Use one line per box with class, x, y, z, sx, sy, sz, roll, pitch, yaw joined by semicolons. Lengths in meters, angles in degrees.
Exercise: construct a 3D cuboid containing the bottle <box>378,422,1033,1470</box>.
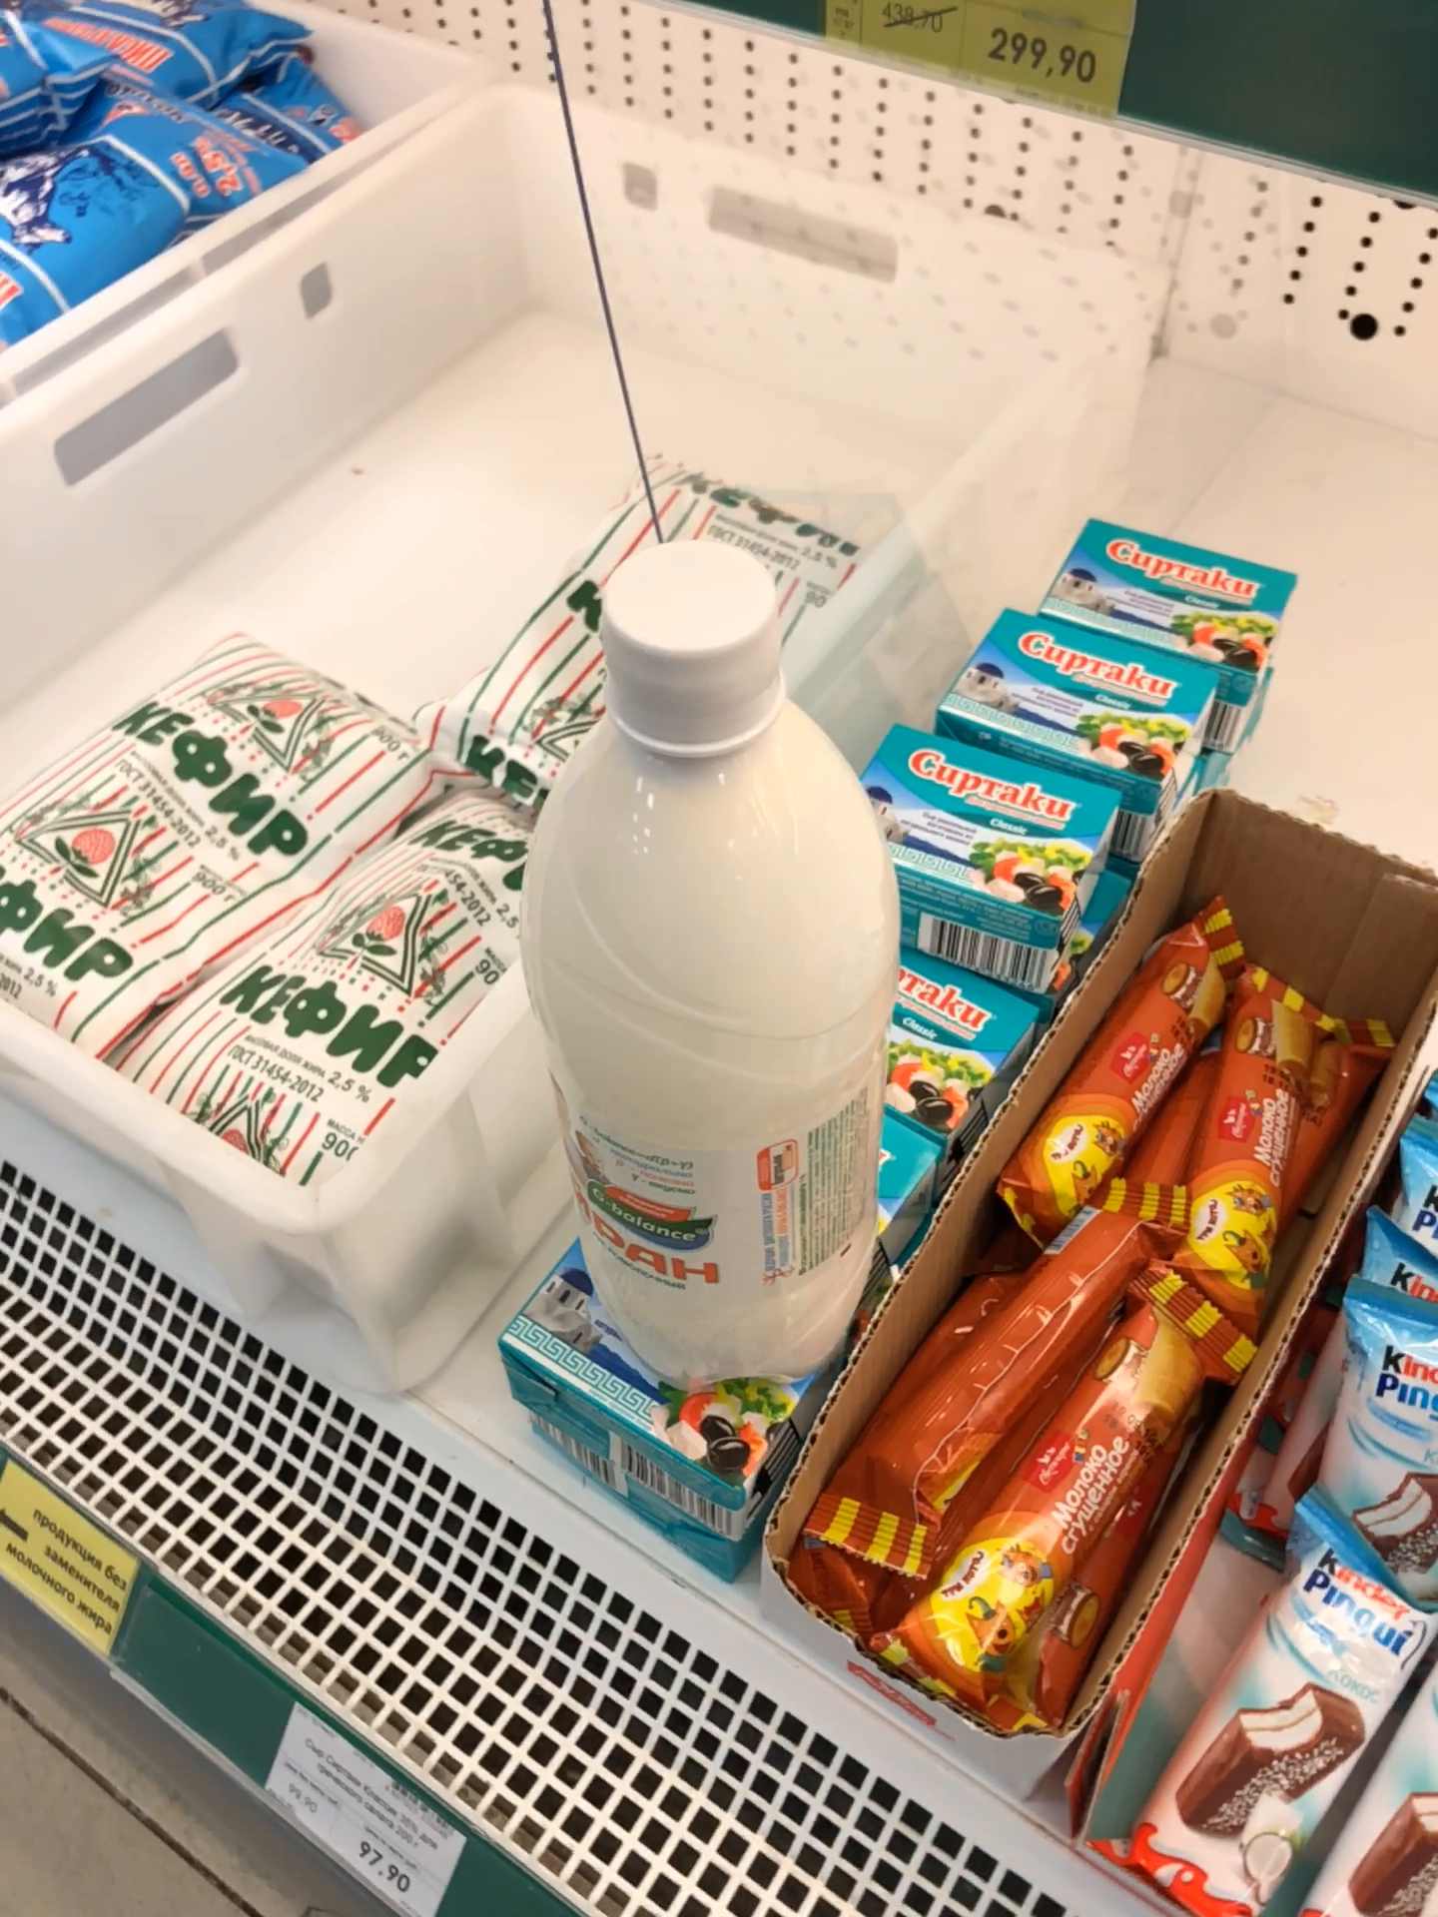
bottle;0.001;0.018;0.366;0.077;0.250;0.079;-1;52;1
